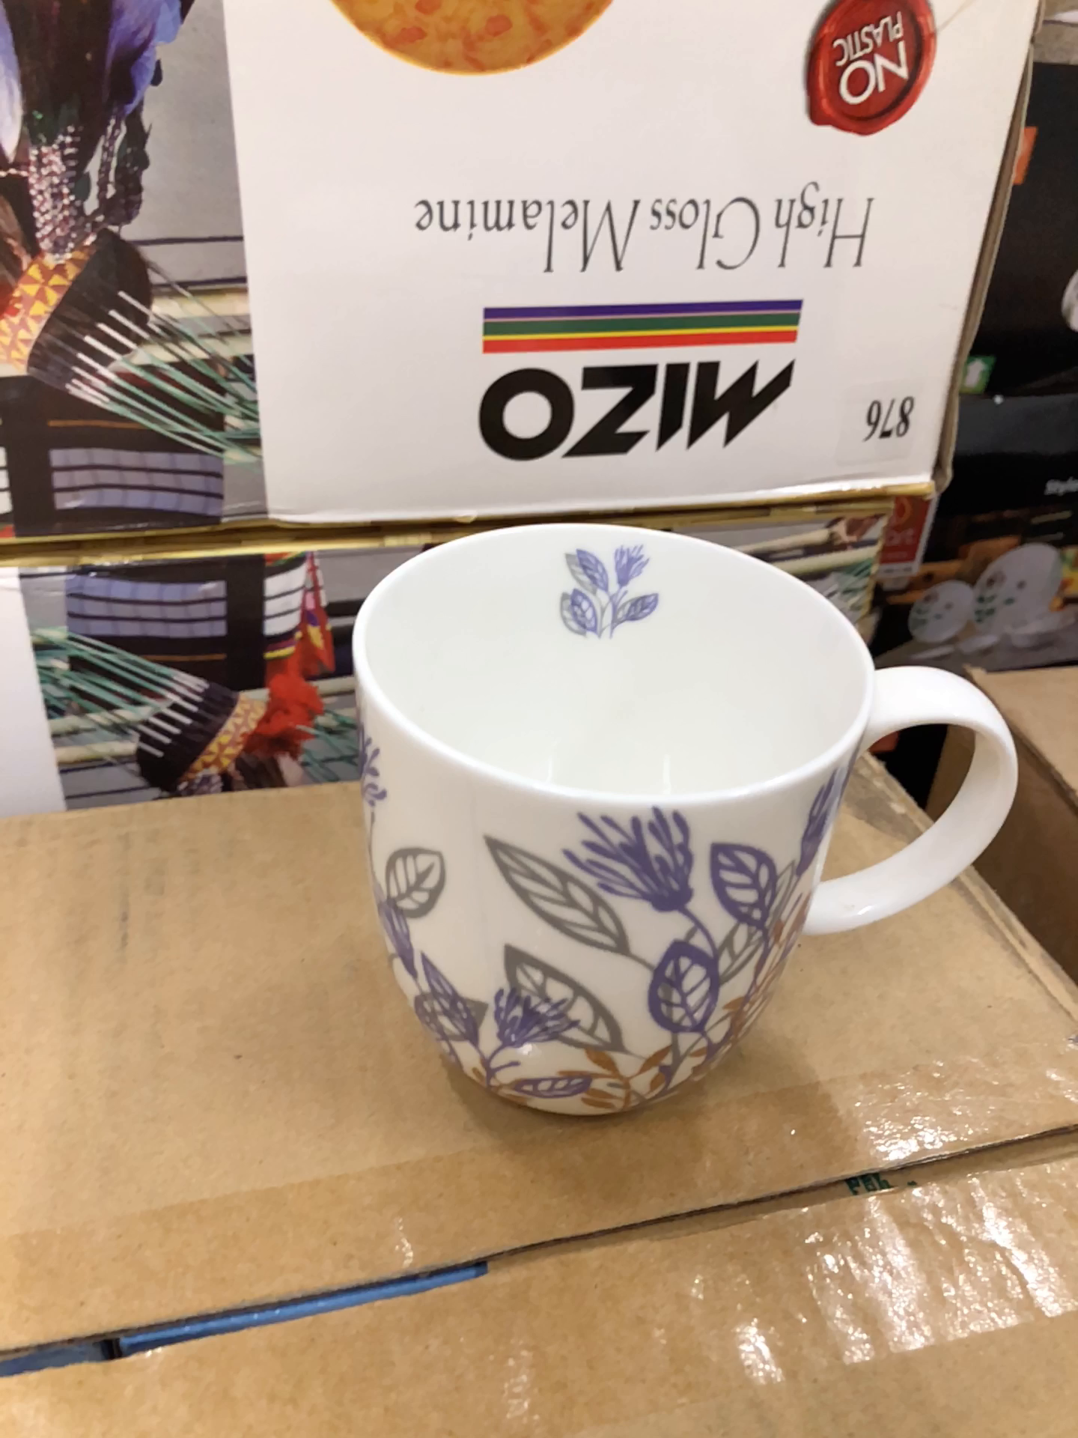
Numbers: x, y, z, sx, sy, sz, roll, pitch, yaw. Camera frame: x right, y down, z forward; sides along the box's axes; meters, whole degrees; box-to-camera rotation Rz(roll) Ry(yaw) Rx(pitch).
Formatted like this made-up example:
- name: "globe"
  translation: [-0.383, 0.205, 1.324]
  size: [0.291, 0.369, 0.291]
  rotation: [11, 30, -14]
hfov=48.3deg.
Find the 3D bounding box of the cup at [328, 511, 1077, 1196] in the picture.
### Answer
- name: "cup"
  translation: [0.026, 0.016, 0.213]
  size: [0.120, 0.070, 0.091]
  rotation: [-3, 34, -10]
